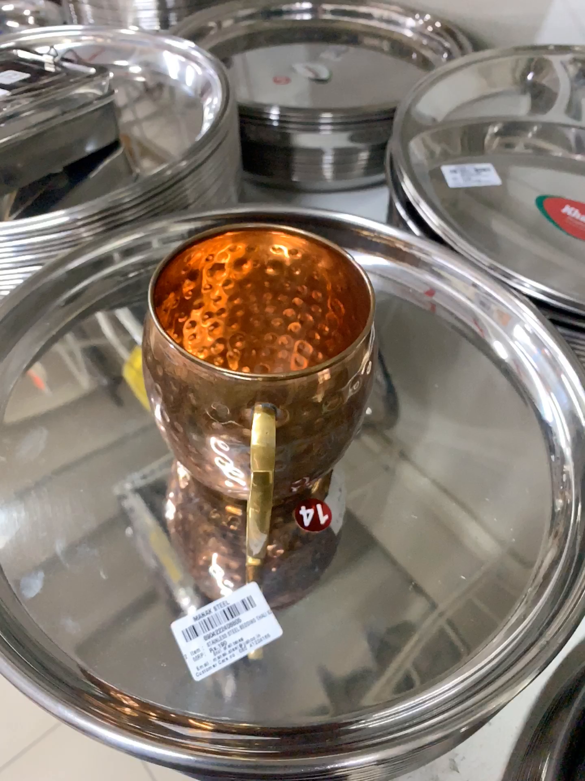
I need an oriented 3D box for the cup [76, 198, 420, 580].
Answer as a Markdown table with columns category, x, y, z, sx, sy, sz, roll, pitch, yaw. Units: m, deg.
| category | x | y | z | sx | sy | sz | roll | pitch | yaw |
| --- | --- | --- | --- | --- | --- | --- | --- | --- | --- |
| cup | -0.010 | -0.001 | 0.229 | 0.090 | 0.090 | 0.110 | 1 | 50 | 1 |
